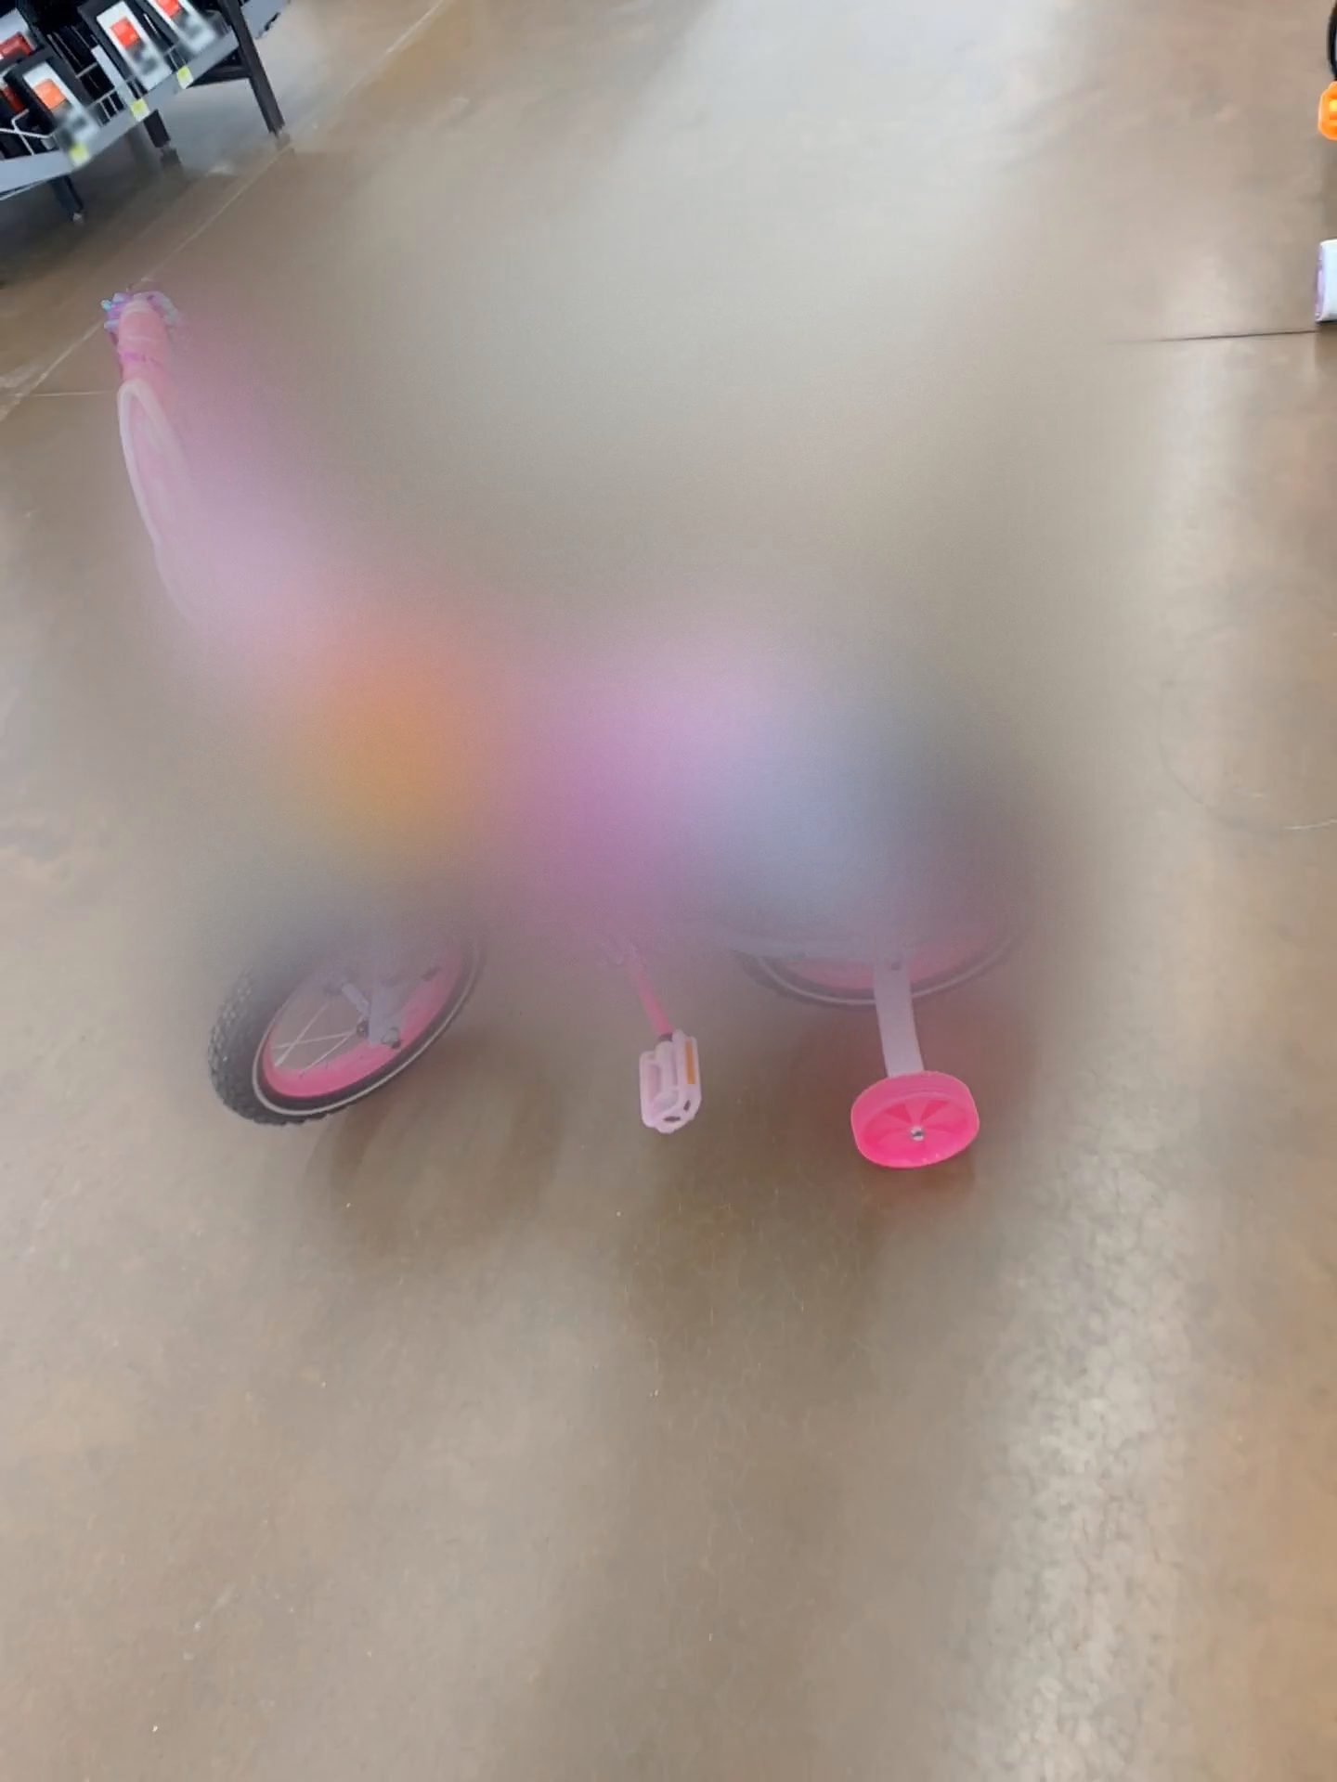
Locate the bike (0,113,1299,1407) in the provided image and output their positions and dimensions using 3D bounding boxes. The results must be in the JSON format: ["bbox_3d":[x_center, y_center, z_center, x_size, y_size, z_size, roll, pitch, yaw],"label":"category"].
[{"bbox_3d":[-0.065,-0.055,1.049,0.759,0.749,0.445,-18,46,-3],"label":"bike"}]
